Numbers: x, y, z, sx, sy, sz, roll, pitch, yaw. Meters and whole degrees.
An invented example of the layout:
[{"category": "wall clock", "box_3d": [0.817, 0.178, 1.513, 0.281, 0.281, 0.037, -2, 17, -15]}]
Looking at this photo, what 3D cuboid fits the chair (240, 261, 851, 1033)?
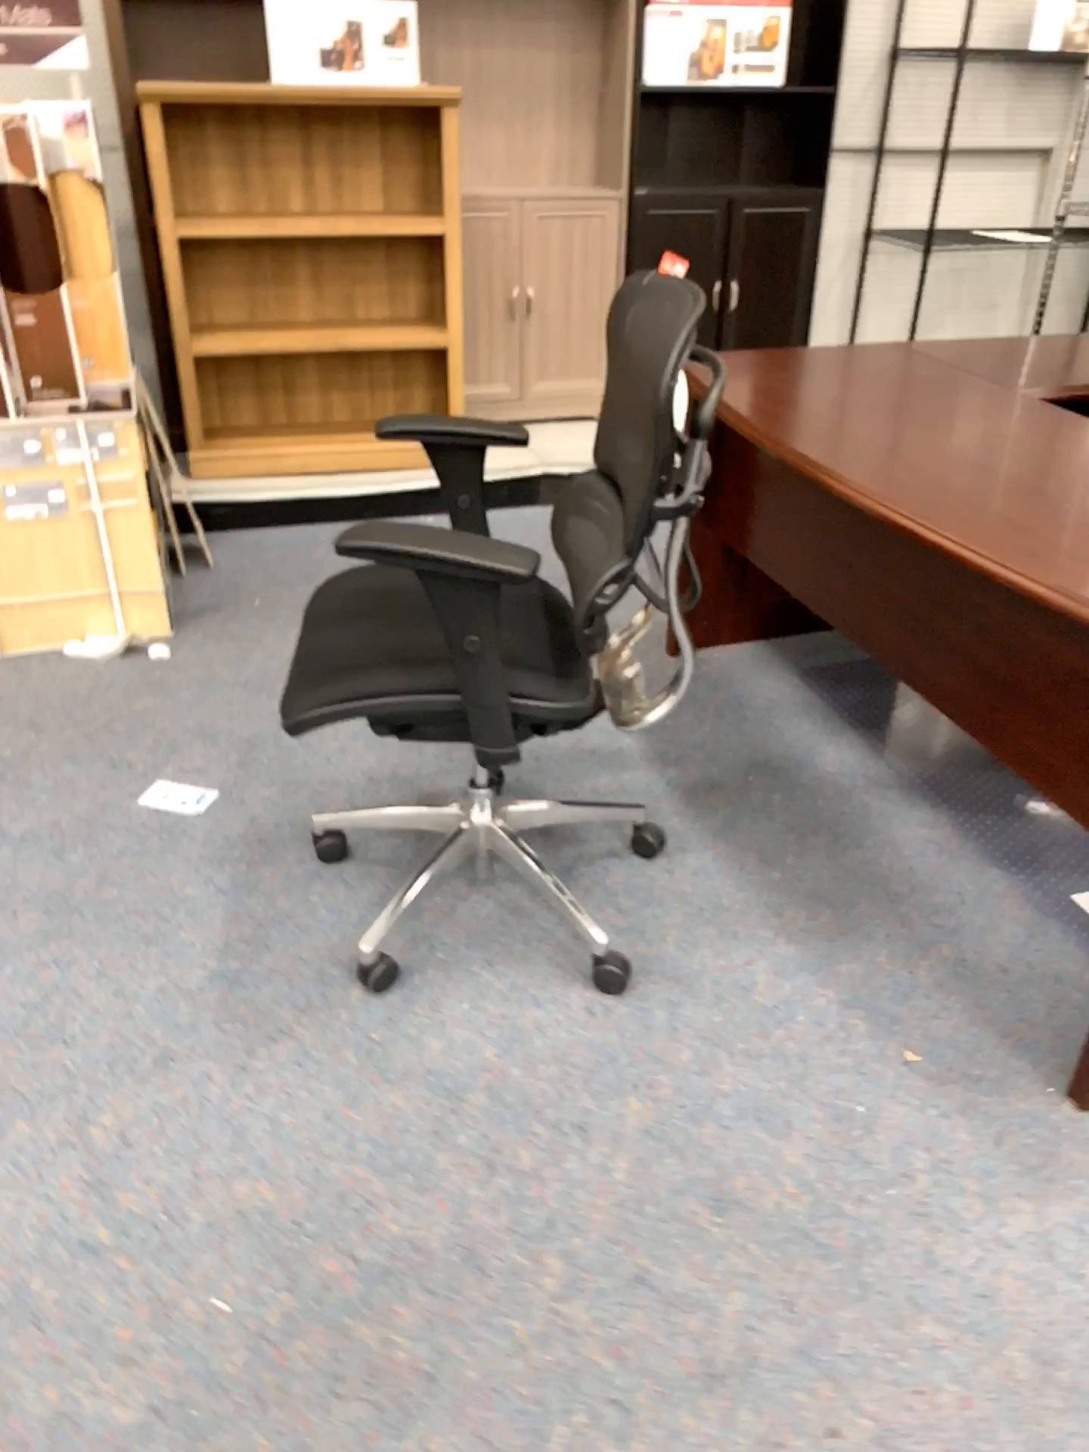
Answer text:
[{"category": "chair", "box_3d": [-0.046, -0.161, 1.784, 0.684, 0.983, 0.701, -3, 30, -8]}]
